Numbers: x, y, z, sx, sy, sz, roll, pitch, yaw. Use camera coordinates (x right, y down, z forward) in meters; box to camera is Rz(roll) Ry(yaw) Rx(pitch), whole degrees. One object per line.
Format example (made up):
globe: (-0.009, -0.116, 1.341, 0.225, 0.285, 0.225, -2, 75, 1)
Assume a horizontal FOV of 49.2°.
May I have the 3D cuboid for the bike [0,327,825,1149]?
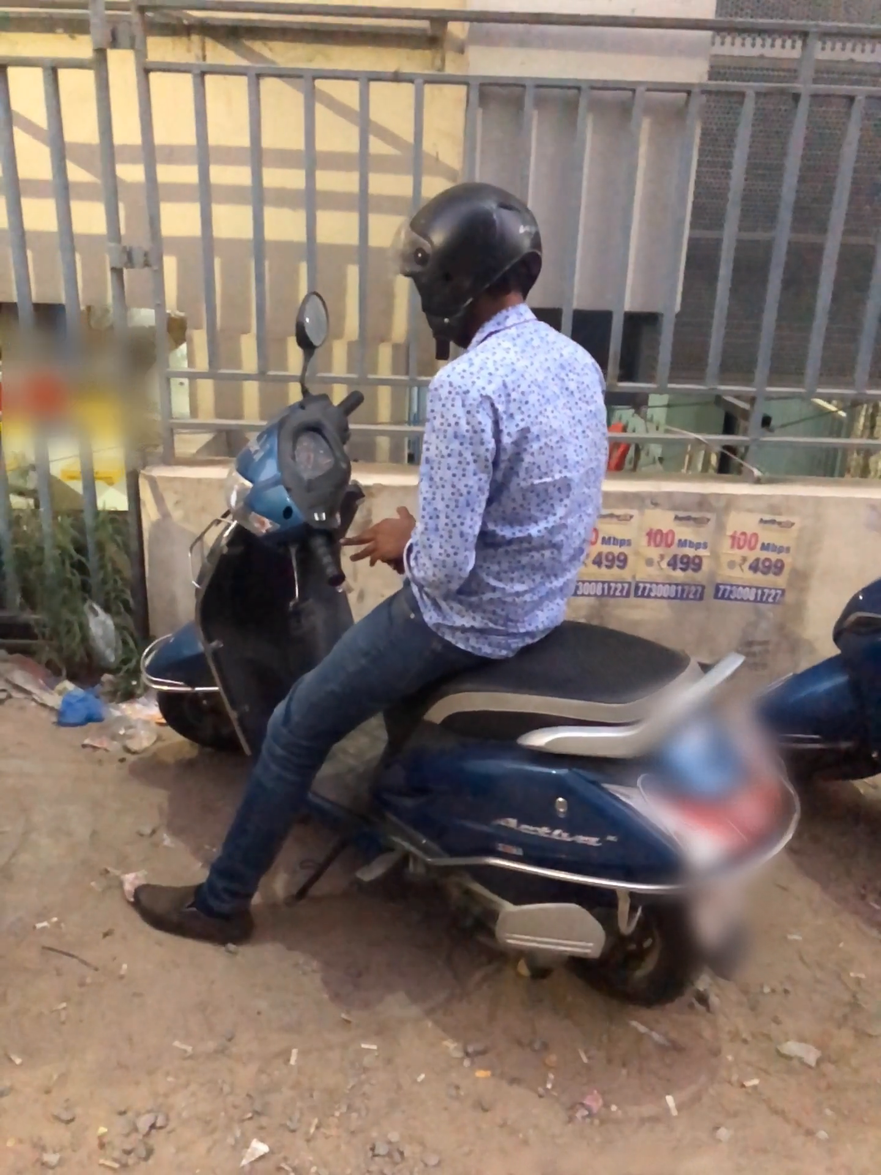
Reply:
bike: (-0.110, 0.173, 2.075, 1.470, 1.131, 0.618, 17, 25, 27)
